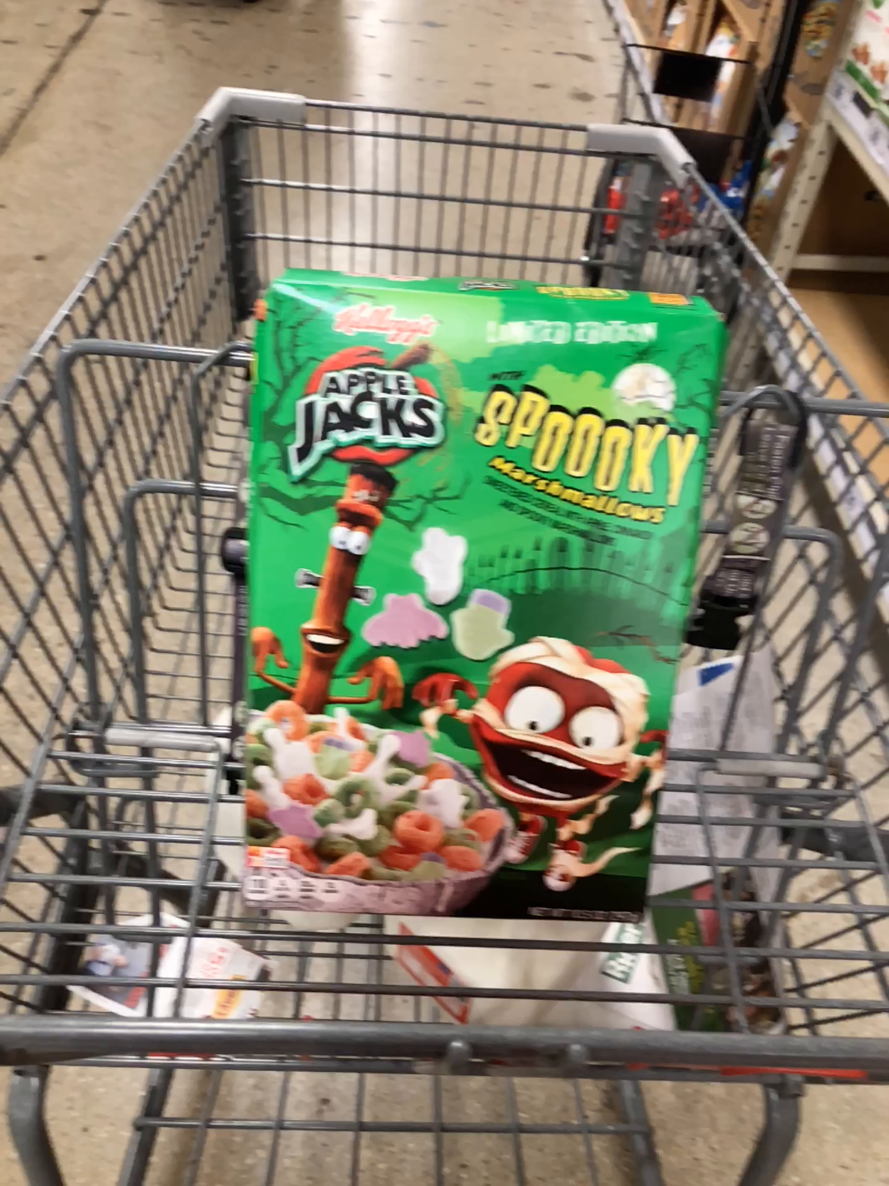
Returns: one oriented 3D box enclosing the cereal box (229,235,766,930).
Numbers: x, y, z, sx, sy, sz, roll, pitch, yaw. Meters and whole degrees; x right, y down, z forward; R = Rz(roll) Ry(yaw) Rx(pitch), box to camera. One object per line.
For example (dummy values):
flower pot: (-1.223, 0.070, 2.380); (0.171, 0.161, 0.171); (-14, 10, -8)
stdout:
cereal box: (0.014, 0.000, 0.438); (0.200, 0.280, 0.070); (3, 11, -3)
